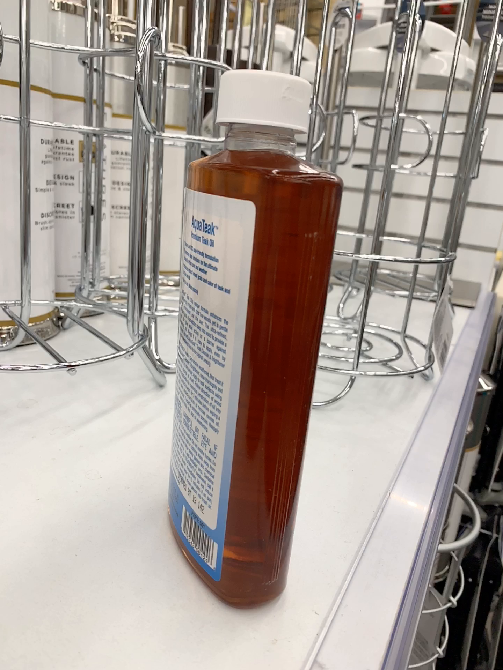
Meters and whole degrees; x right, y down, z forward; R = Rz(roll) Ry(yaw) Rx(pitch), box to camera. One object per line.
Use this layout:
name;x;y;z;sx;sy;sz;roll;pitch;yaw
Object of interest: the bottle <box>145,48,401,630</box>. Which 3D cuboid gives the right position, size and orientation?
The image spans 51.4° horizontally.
bottle;-0.004;0.003;0.223;0.046;0.207;0.088;-4;20;-30
